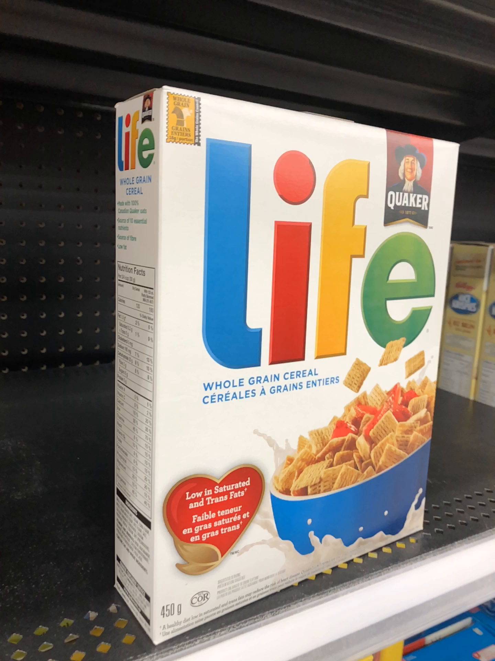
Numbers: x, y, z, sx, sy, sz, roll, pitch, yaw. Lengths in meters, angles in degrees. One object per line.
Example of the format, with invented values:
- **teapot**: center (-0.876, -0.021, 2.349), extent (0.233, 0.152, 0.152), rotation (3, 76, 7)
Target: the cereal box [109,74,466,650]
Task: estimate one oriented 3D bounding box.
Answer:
- **cereal box**: center (0.027, 0.013, 0.322), extent (0.200, 0.259, 0.060), rotation (-4, 13, -35)
